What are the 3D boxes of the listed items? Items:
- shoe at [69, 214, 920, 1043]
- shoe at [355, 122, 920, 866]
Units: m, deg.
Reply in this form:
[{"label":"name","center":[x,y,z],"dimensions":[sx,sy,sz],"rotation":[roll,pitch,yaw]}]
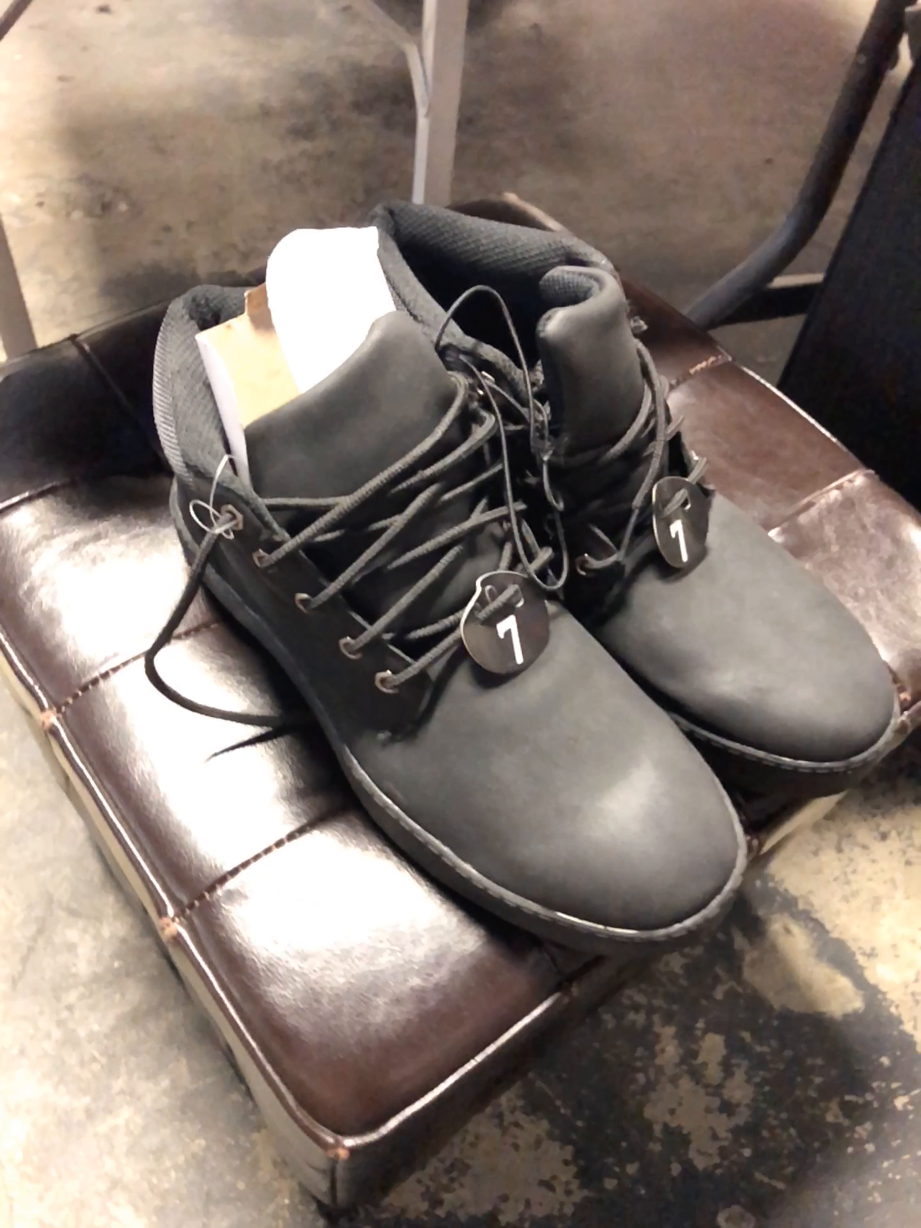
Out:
[{"label":"shoe","center":[-0.004,0.001,0.361],"dimensions":[0.261,0.139,0.100],"rotation":[40,59,19]},{"label":"shoe","center":[0.077,-0.045,0.367],"dimensions":[0.220,0.139,0.100],"rotation":[40,59,19]}]
